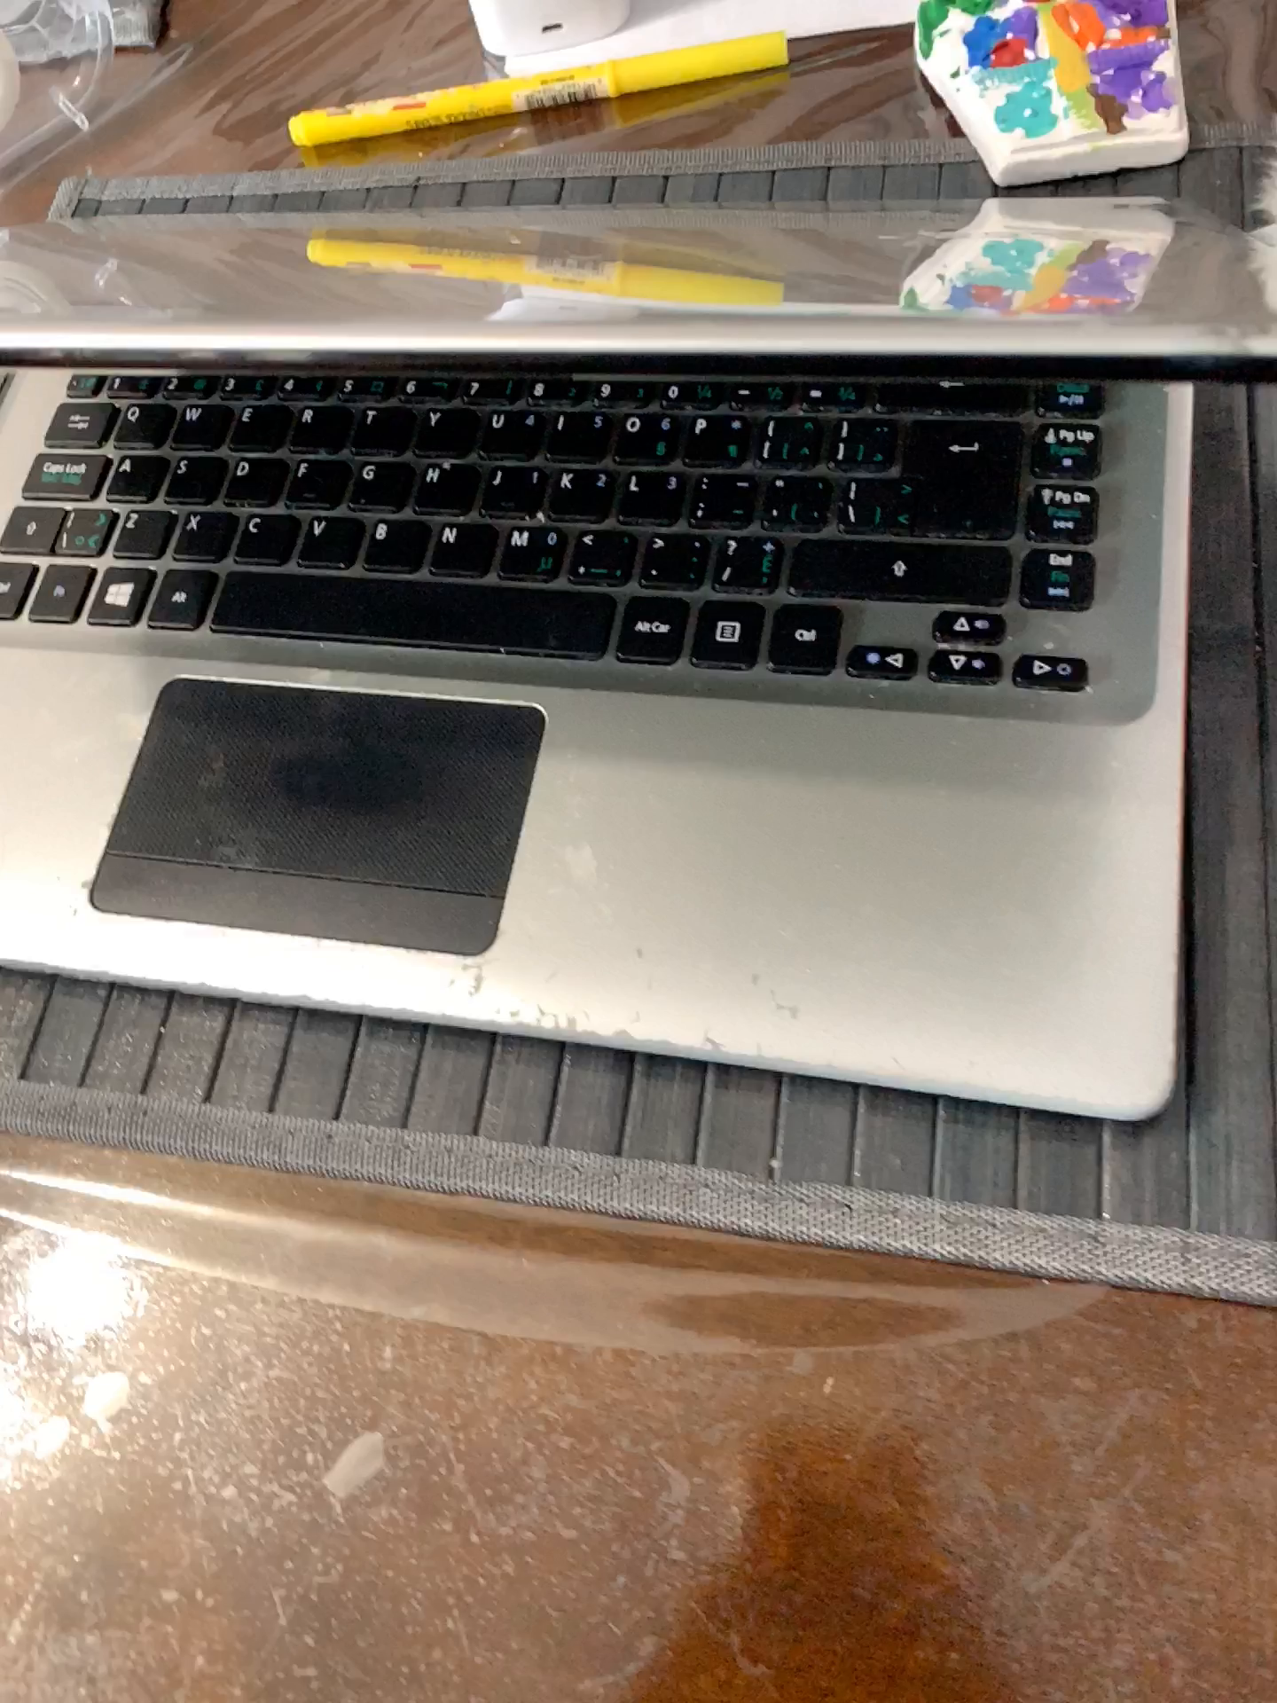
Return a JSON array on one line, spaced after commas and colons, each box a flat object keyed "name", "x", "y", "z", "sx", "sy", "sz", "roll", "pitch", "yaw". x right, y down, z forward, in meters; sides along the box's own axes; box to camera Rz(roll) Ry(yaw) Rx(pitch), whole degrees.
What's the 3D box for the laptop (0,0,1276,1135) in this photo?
[{"name": "laptop", "x": -0.053, "y": -0.098, "z": 0.282, "sx": 0.344, "sy": 0.145, "sz": 0.236, "roll": 6, "pitch": 67, "yaw": 14}]
